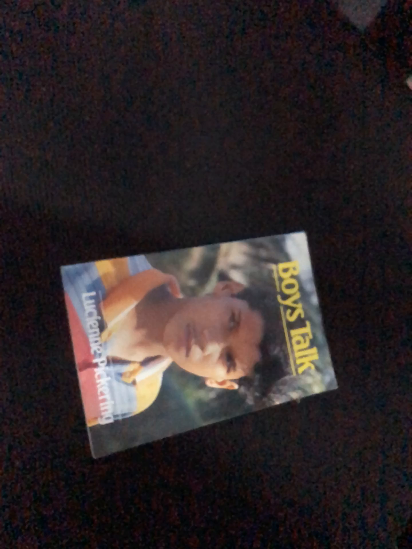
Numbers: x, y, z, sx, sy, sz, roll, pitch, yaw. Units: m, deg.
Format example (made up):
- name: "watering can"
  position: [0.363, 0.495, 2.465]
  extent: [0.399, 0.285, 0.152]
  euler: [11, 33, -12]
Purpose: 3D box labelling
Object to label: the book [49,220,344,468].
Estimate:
- name: "book"
  position: [0.002, 0.038, 0.318]
  extent: [0.191, 0.010, 0.130]
  euler: [-9, 88, -21]
